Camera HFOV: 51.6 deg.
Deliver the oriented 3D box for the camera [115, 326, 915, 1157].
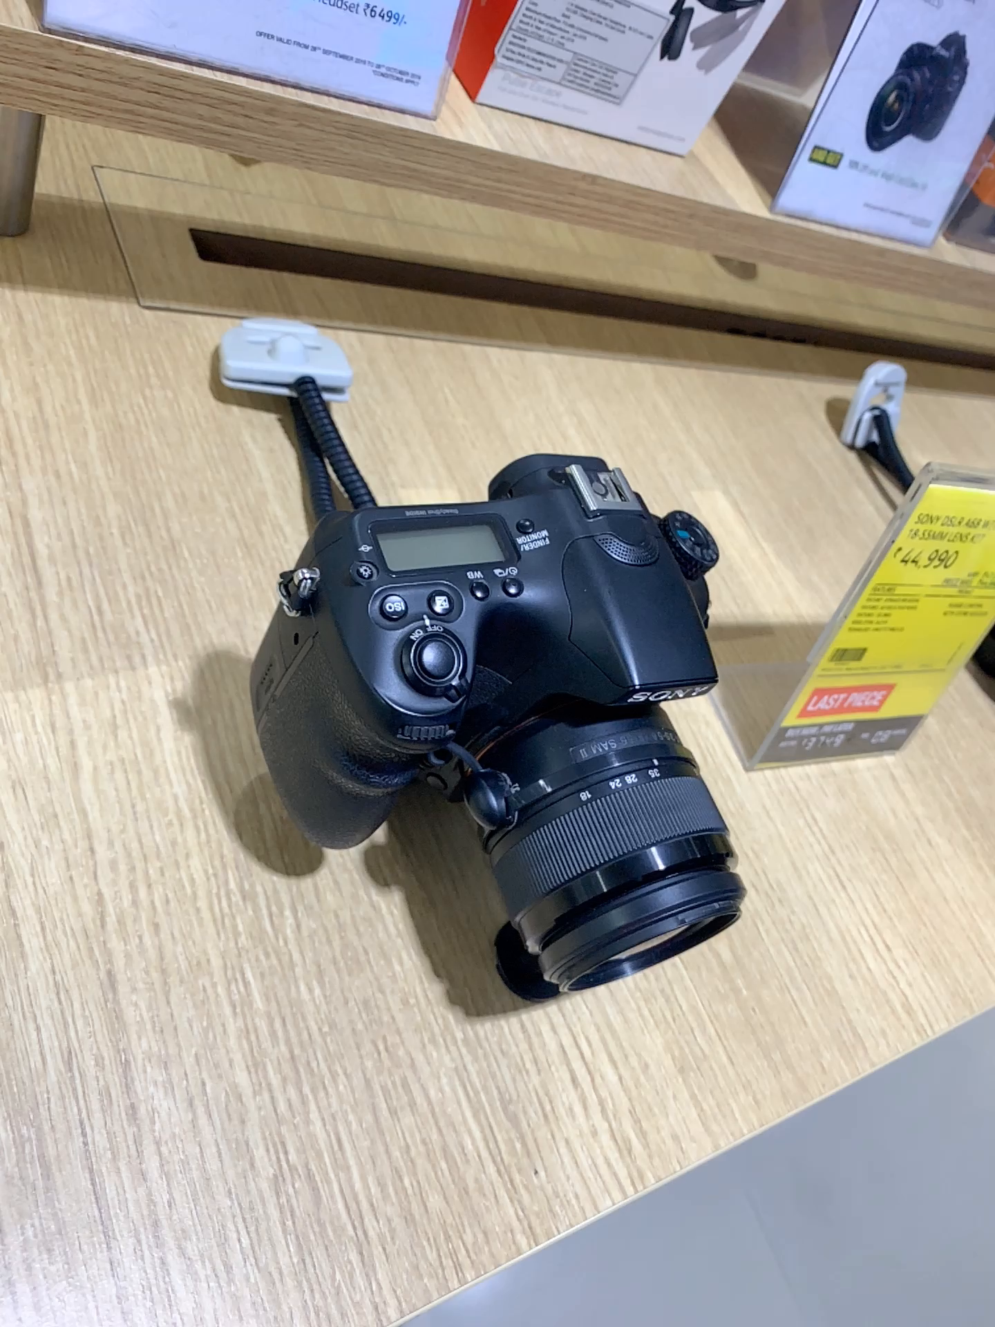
[{"bbox_3d":[-0.002,0.005,0.274,0.130,0.070,0.180,-10,62,-39],"label":"camera"}]
